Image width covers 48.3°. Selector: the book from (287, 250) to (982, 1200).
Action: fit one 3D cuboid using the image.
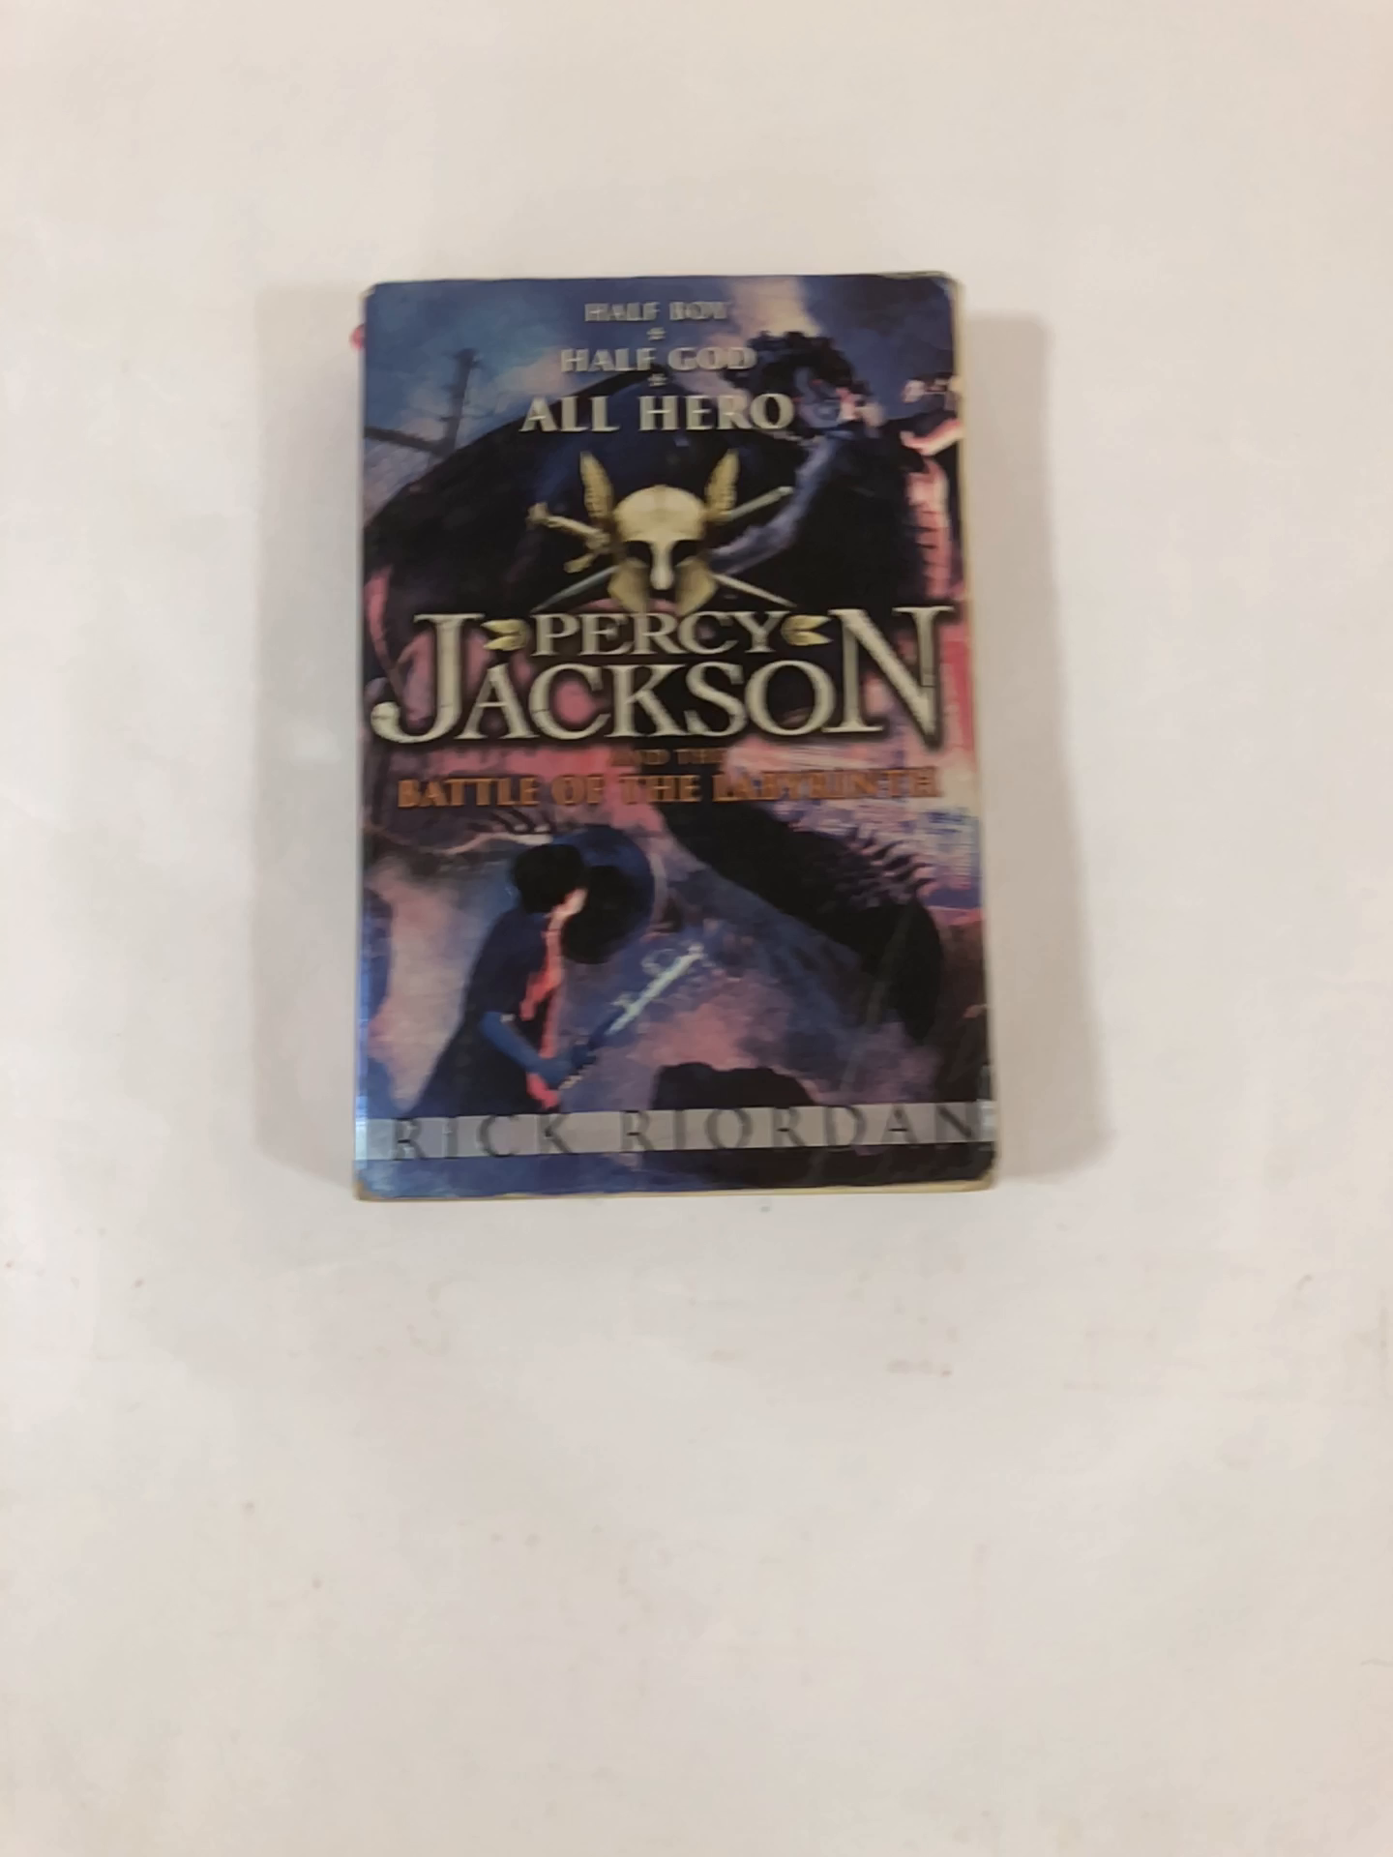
[{"bbox_3d":[-0.014,-0.042,0.325,0.130,0.040,0.190,-2,81,-1],"label":"book"}]
